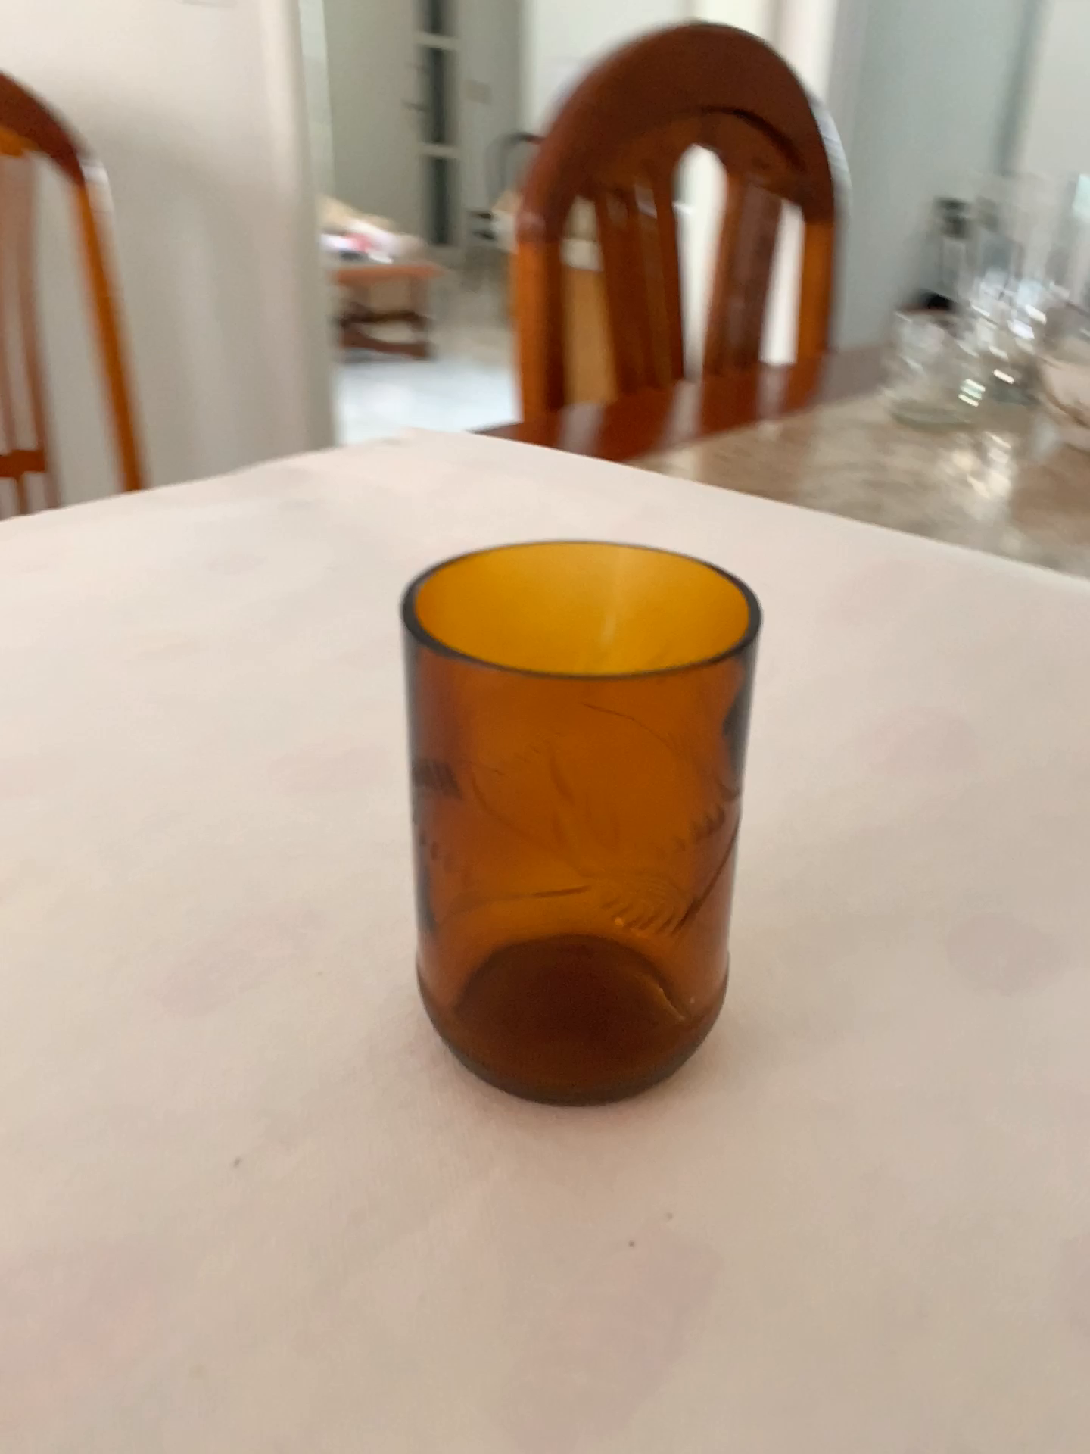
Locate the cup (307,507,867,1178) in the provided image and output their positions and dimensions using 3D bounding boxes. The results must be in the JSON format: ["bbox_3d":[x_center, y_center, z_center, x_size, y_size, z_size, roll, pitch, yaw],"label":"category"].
[{"bbox_3d":[0.007,0.016,0.220,0.070,0.090,0.070,1,28,0],"label":"cup"}]
